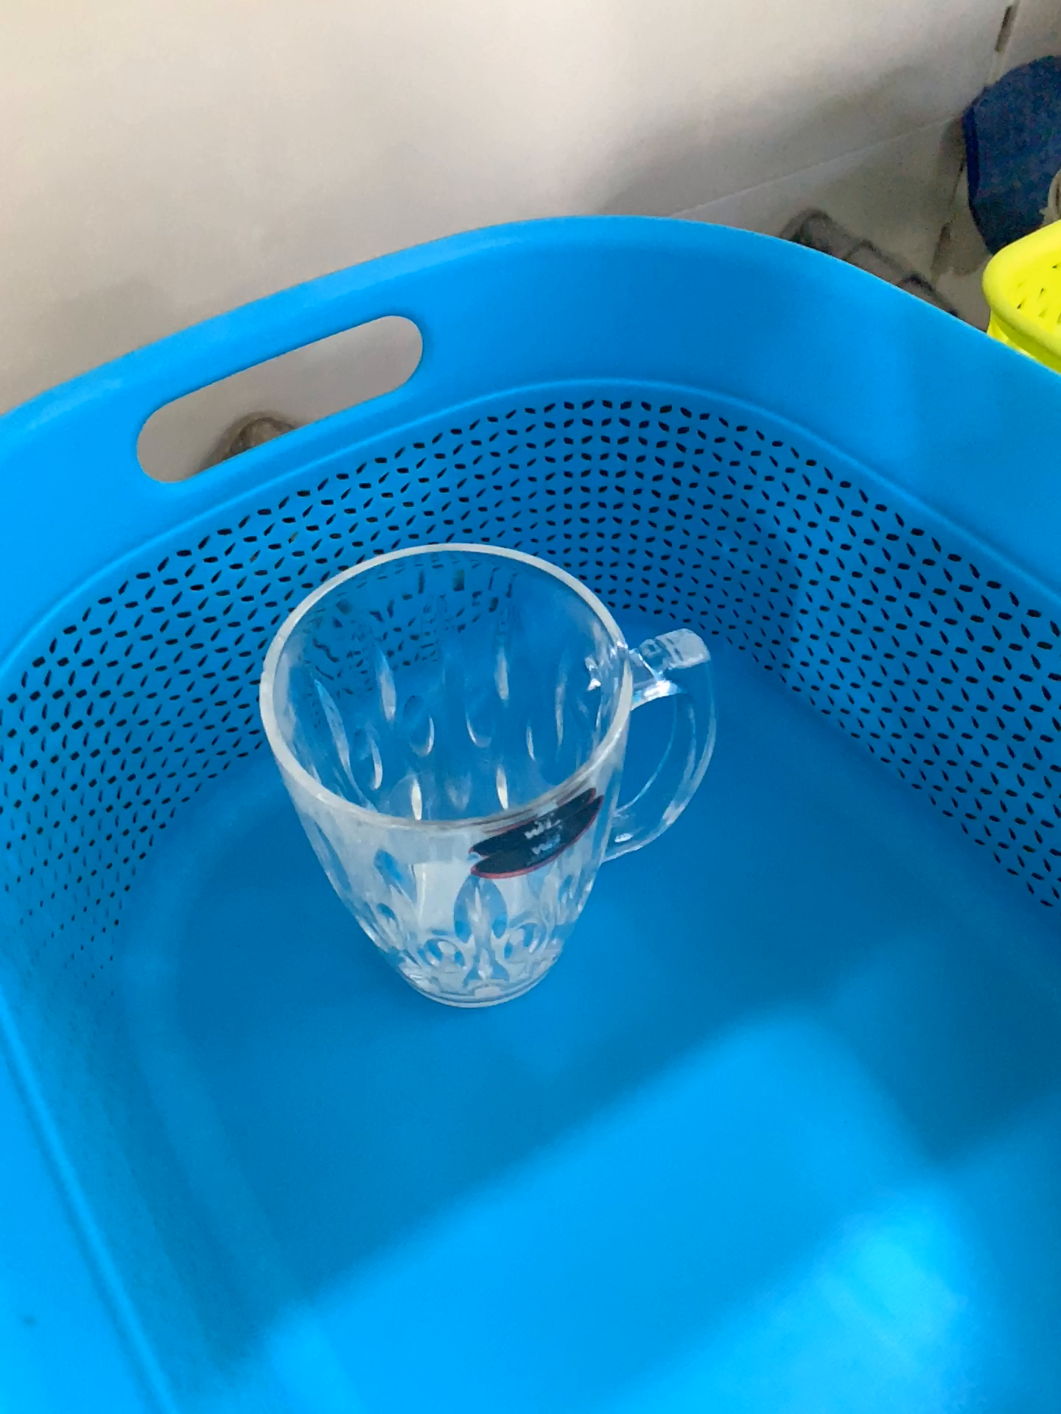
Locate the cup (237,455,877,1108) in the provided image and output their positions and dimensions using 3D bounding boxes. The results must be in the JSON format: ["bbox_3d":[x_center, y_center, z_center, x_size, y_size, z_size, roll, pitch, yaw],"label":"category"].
[{"bbox_3d":[0.004,0.020,0.274,0.110,0.109,0.080,-23,55,-16],"label":"cup"}]
